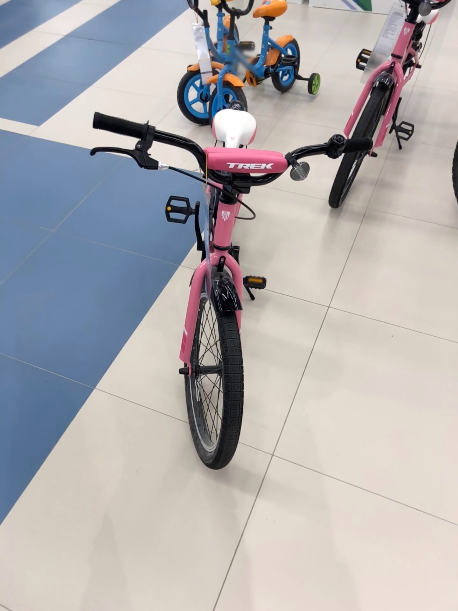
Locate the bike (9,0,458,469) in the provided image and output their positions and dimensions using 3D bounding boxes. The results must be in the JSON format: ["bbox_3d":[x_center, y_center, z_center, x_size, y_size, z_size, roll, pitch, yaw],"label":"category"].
[{"bbox_3d":[0.032,-0.323,1.395,0.555,0.835,1.302,-1,43,2],"label":"bike"}]
